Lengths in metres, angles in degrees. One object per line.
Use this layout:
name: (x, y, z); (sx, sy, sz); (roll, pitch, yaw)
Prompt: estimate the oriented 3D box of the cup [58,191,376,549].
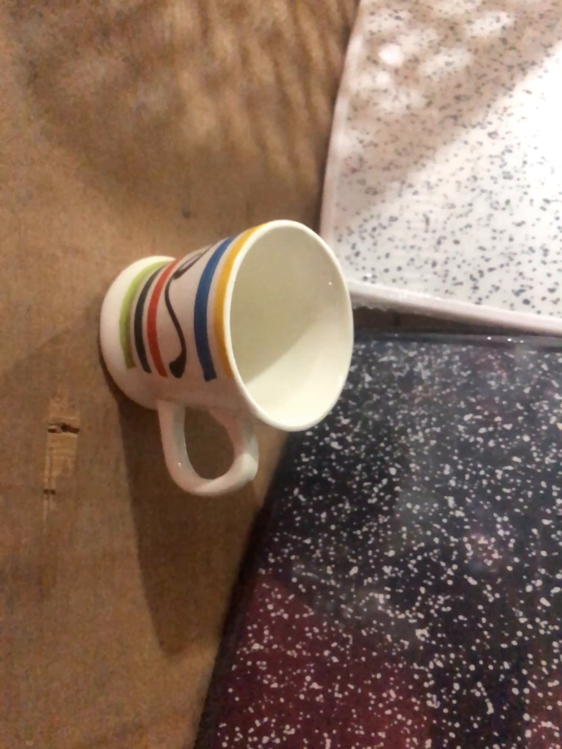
cup: (-0.021, 0.003, 0.222); (0.060, 0.079, 0.100); (16, 77, -49)
